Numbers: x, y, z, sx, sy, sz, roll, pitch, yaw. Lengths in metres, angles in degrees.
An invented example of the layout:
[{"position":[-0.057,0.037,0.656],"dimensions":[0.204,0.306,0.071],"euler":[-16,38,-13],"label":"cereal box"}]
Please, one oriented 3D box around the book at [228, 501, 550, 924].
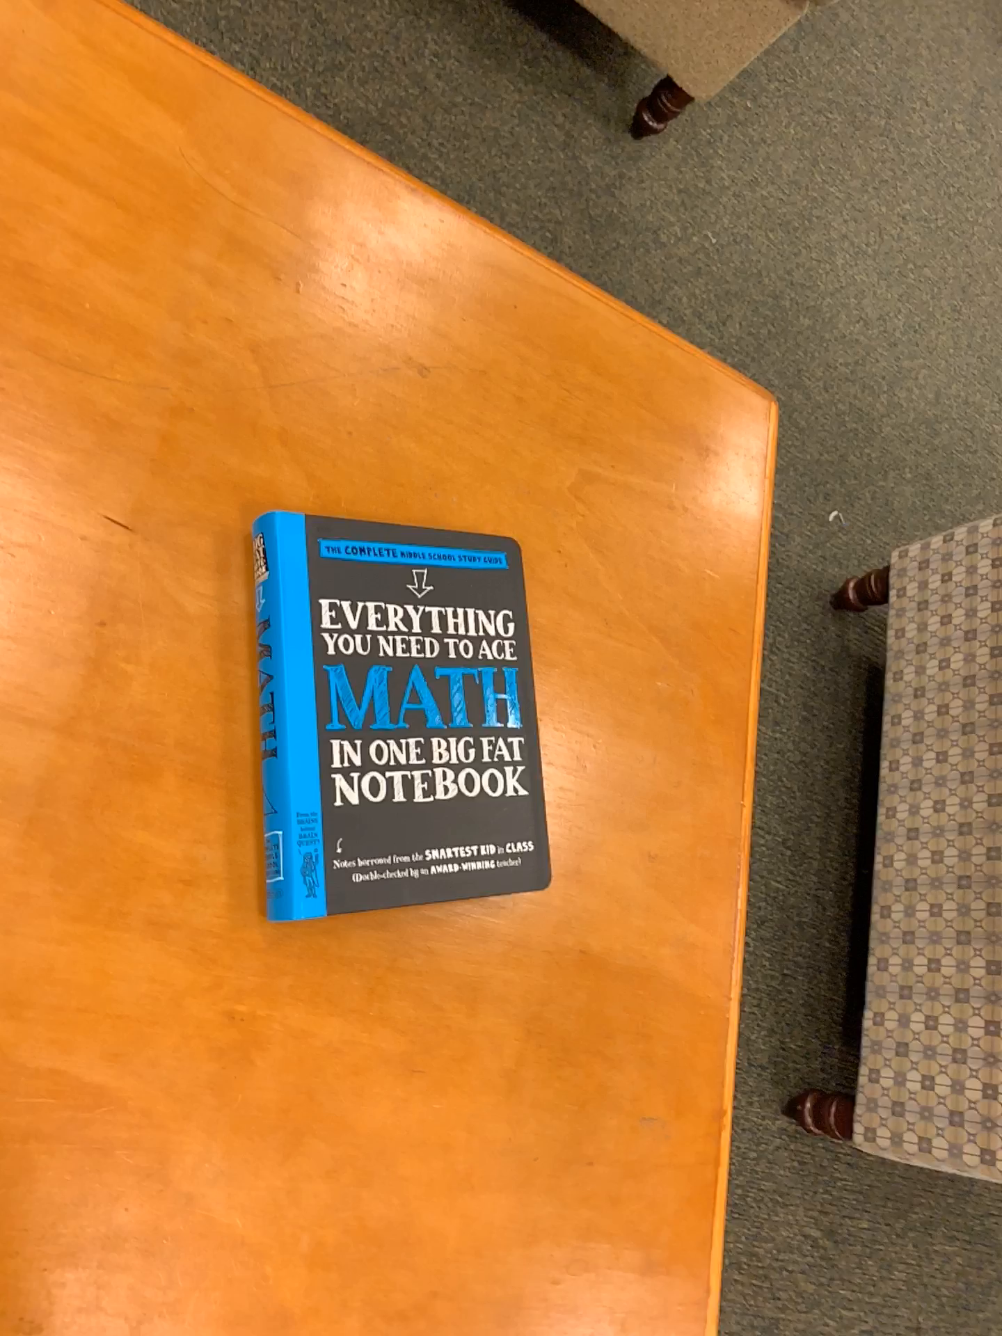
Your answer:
[{"position":[-0.060,0.024,0.563],"dimensions":[0.161,0.040,0.210],"euler":[2,77,-32],"label":"book"}]
